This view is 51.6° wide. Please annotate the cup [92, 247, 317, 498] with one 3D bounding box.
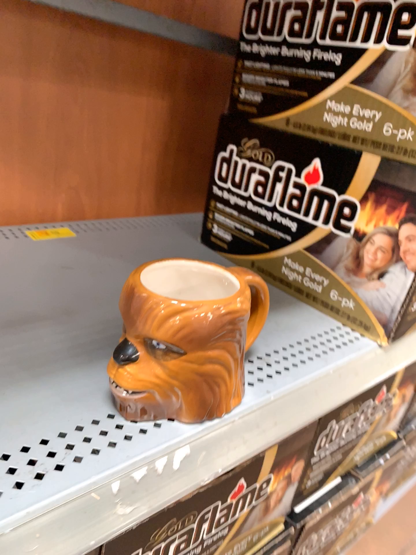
[{"bbox_3d":[-0.008,0.064,0.350,0.132,0.138,0.098,-10,31,-39],"label":"cup"}]
